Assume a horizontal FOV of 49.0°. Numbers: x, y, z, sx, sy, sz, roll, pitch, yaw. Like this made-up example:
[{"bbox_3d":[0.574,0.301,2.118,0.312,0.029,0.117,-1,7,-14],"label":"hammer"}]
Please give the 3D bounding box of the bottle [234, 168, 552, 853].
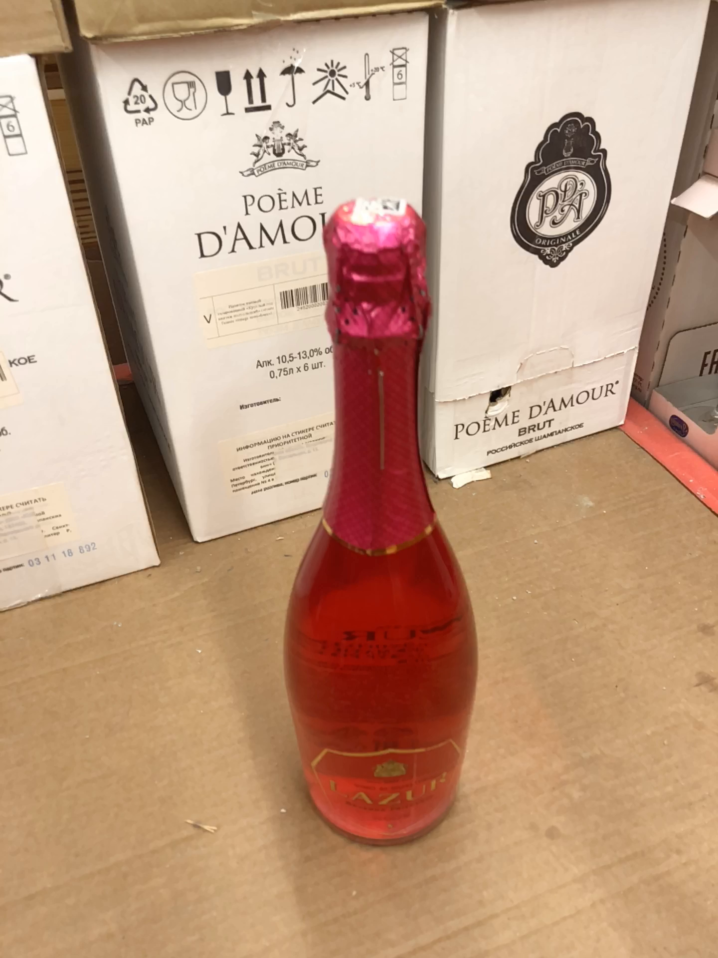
[{"bbox_3d":[0.011,0.040,0.355,0.090,0.320,0.090,-1,37,1],"label":"bottle"}]
